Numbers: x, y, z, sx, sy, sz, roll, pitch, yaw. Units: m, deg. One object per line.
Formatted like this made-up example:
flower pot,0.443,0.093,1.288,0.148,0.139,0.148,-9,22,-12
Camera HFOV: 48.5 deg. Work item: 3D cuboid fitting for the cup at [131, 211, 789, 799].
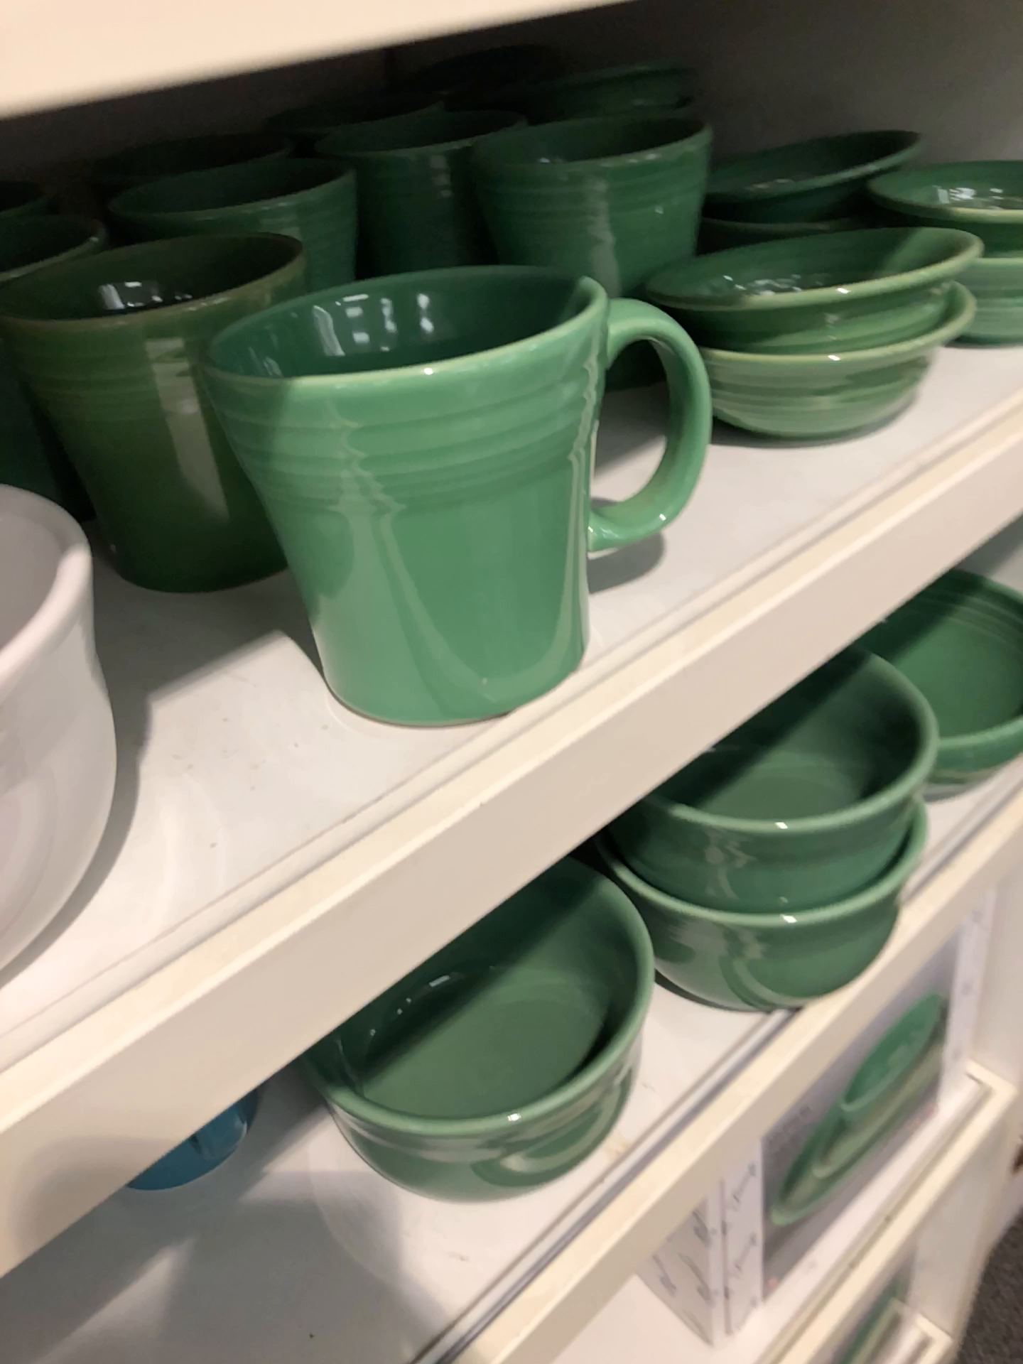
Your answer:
cup,-0.014,-0.059,0.316,0.134,0.098,0.107,-21,37,-21
